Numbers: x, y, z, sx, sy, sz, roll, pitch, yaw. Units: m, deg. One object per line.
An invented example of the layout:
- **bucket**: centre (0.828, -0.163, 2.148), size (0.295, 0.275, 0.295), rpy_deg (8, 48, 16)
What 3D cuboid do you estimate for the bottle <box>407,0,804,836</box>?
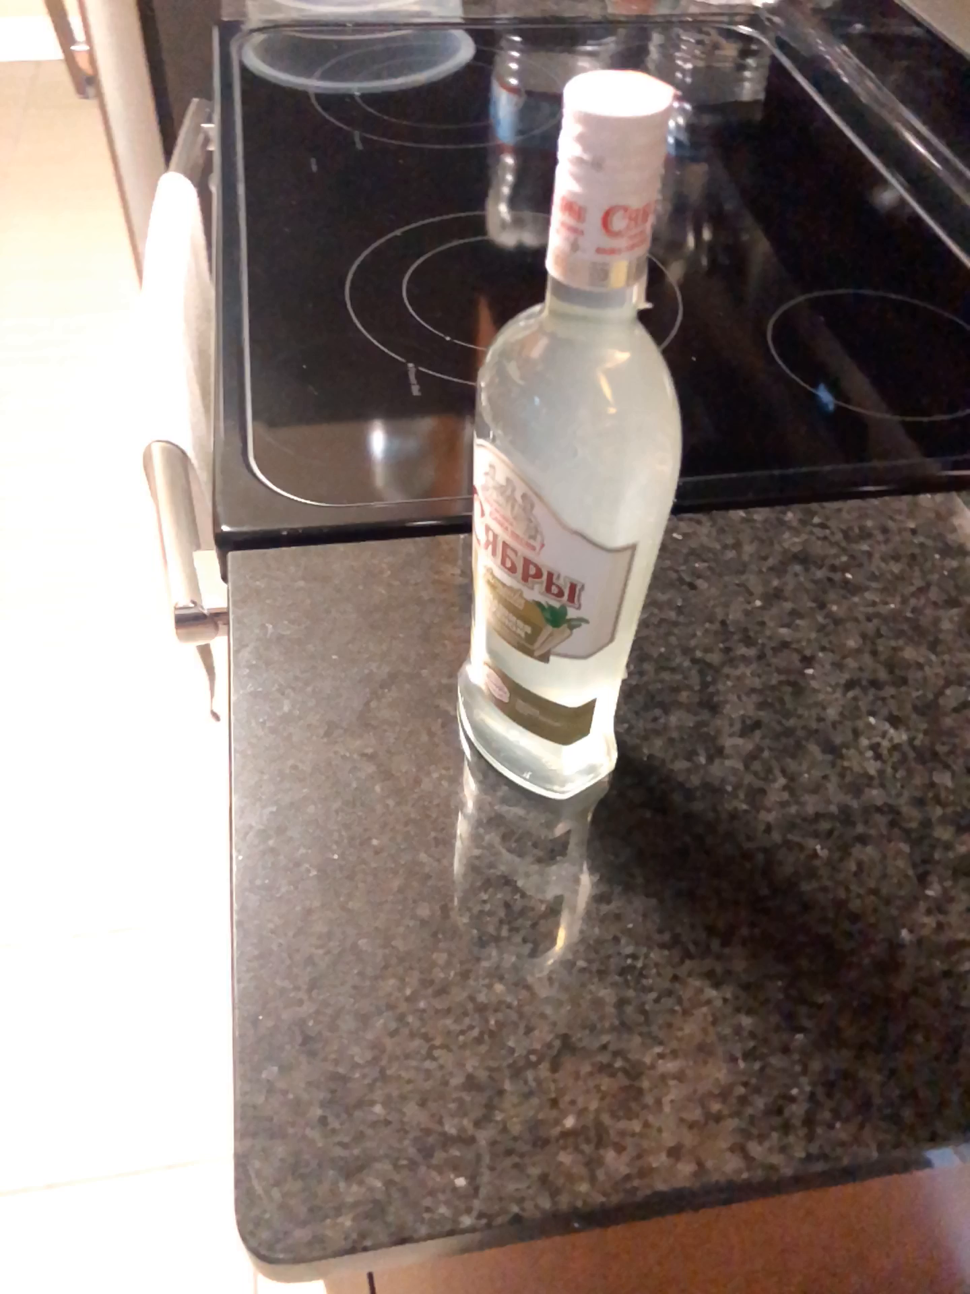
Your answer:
- **bottle**: centre (0.021, -0.055, 0.366), size (0.060, 0.269, 0.090), rpy_deg (-21, 52, -21)
